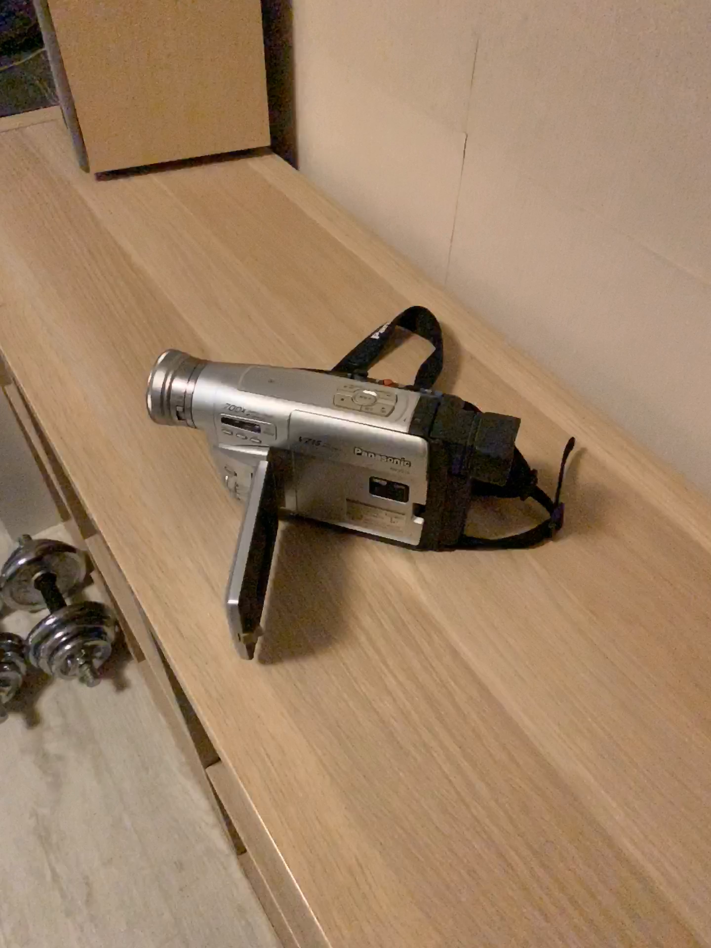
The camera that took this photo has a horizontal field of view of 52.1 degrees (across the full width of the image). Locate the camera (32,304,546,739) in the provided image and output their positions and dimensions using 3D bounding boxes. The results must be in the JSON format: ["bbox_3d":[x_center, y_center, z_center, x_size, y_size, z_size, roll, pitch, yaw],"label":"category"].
[{"bbox_3d":[-0.024,0.017,0.465,0.246,0.109,0.204,13,49,9],"label":"camera"}]
